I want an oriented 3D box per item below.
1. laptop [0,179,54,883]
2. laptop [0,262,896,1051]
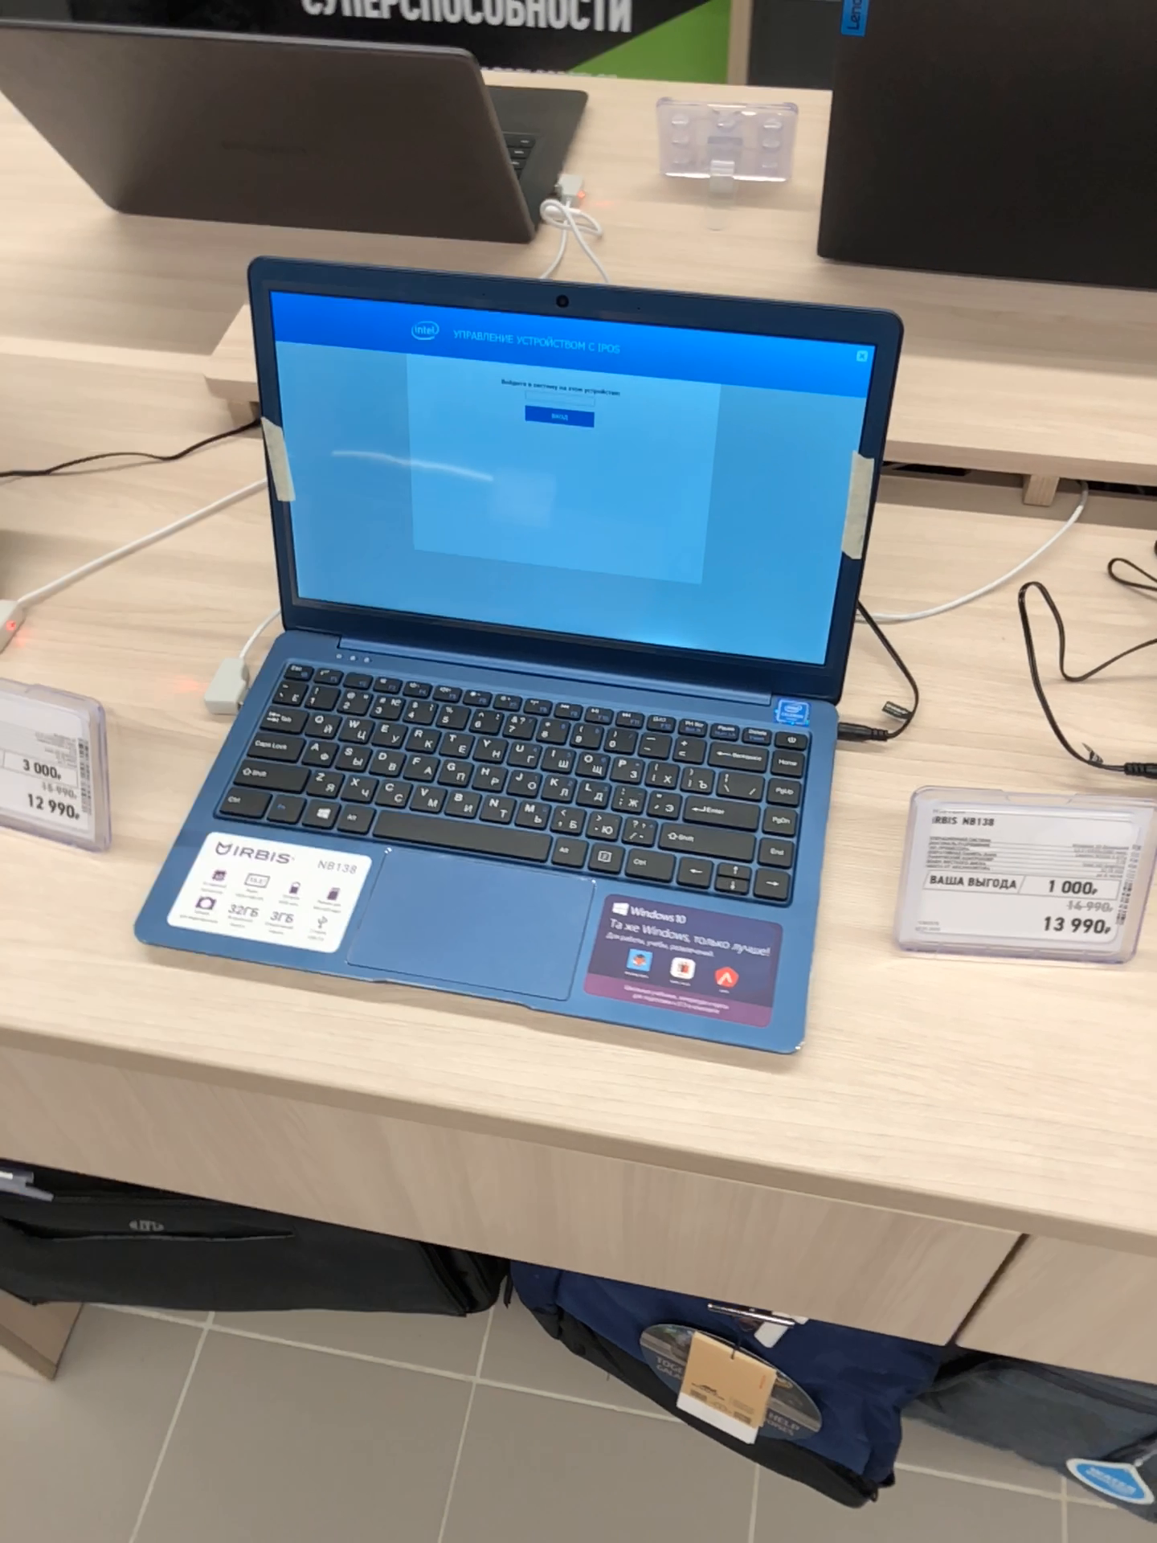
[{"bbox_3d":[-0.516,-0.144,0.677,0.300,0.155,0.328,8,52,7],"label":"laptop"},{"bbox_3d":[-0.030,-0.064,0.590,0.309,0.186,0.271,8,52,9],"label":"laptop"}]
